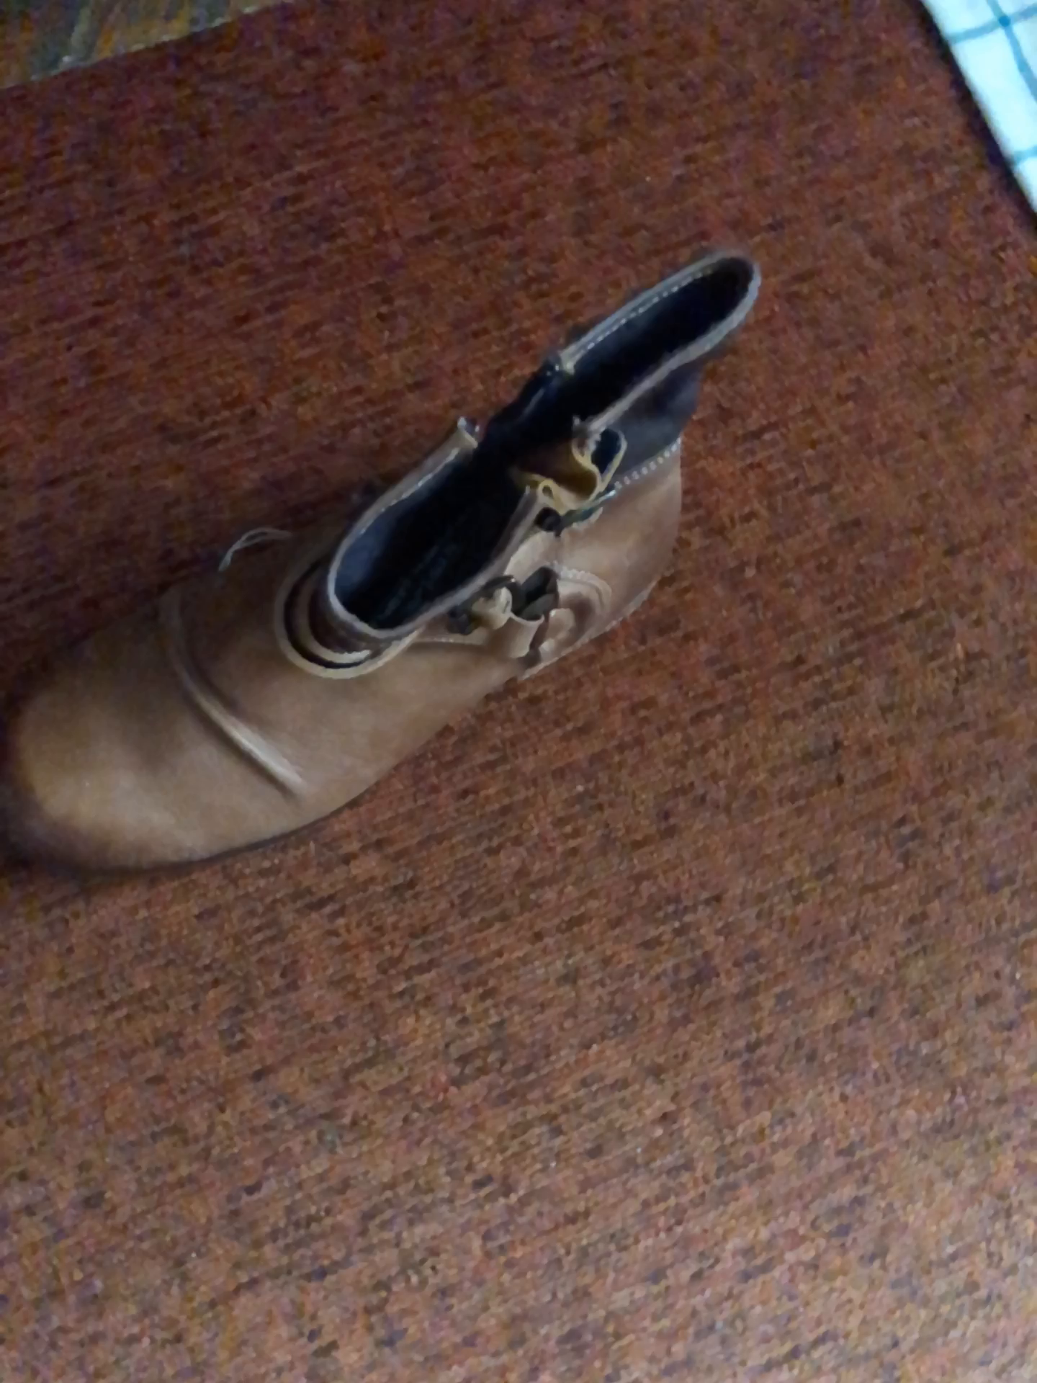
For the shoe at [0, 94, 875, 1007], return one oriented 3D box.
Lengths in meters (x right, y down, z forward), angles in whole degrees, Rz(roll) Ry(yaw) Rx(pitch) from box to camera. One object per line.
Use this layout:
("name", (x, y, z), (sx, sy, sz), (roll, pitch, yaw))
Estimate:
("shoe", (-0.064, -0.029, 0.372), (0.280, 0.190, 0.110), (-28, 84, -7))
